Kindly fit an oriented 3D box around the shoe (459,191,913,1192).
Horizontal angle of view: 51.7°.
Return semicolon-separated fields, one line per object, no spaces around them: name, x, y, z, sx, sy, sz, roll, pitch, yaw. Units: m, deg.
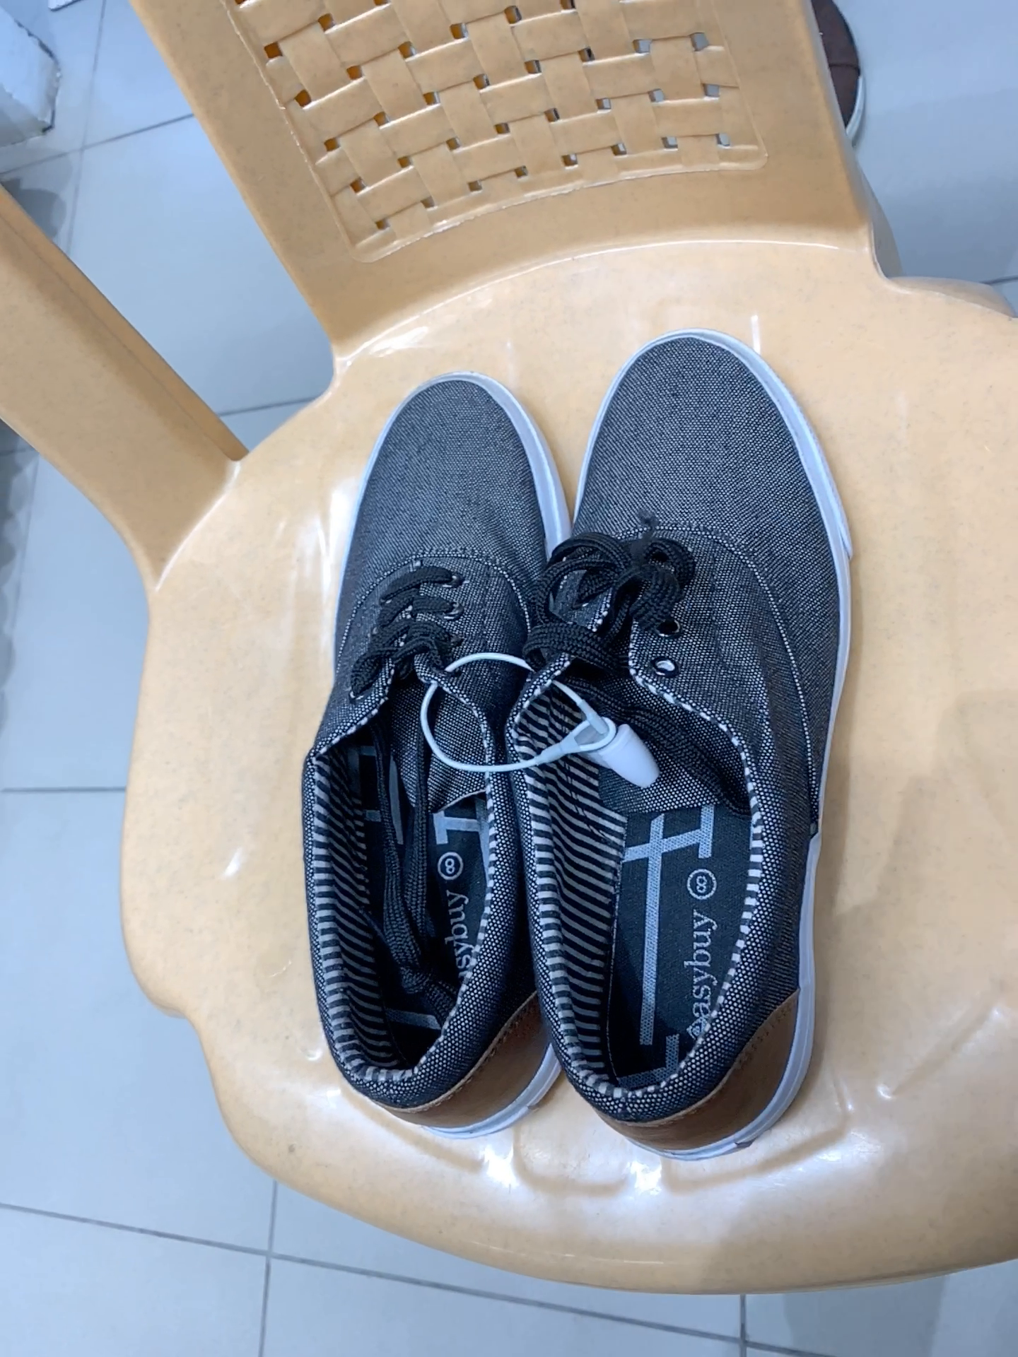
shoe;0.057;0.006;0.345;0.110;0.110;0.270;-7;75;22

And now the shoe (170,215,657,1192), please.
shoe;-0.031;0.011;0.337;0.100;0.110;0.260;-11;73;21
